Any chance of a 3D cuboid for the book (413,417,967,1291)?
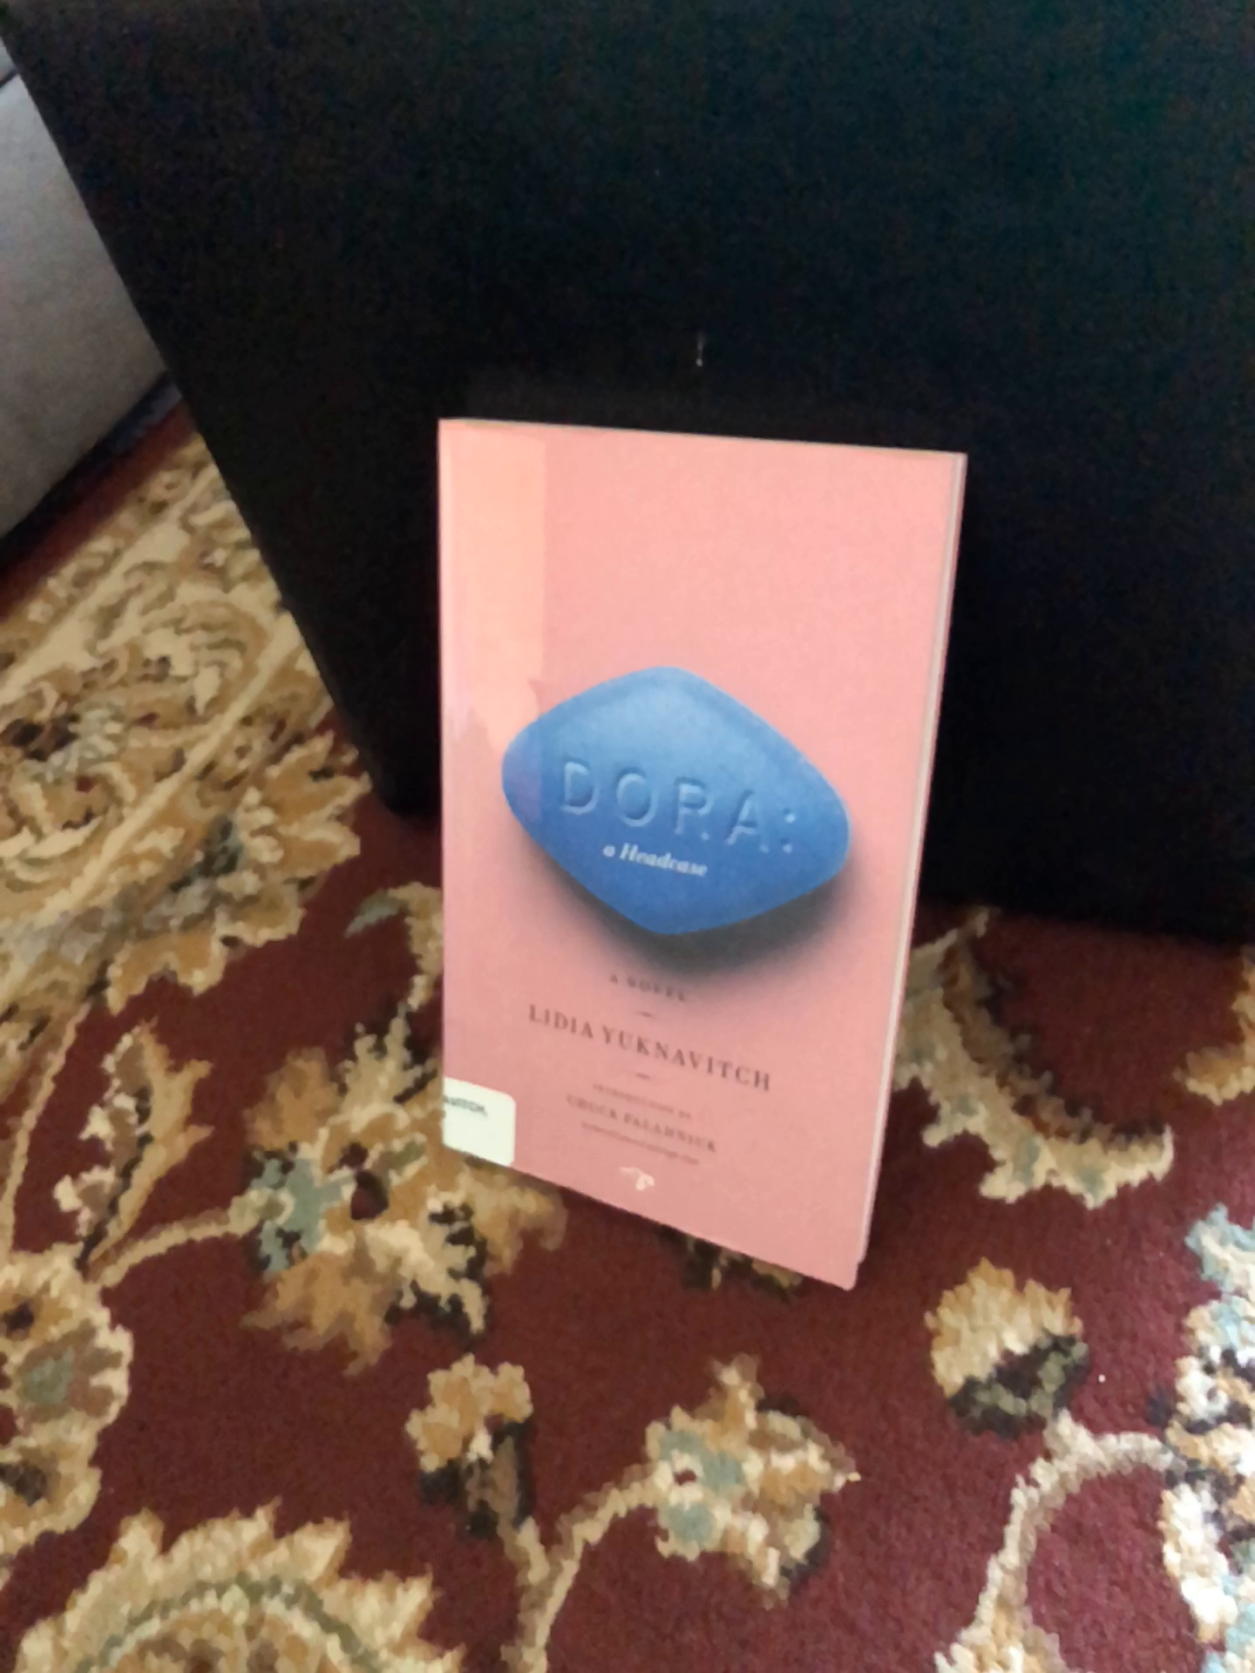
[{"bbox_3d":[0.007,0.002,0.409,0.149,0.231,0.030,12,20,26],"label":"book"}]
